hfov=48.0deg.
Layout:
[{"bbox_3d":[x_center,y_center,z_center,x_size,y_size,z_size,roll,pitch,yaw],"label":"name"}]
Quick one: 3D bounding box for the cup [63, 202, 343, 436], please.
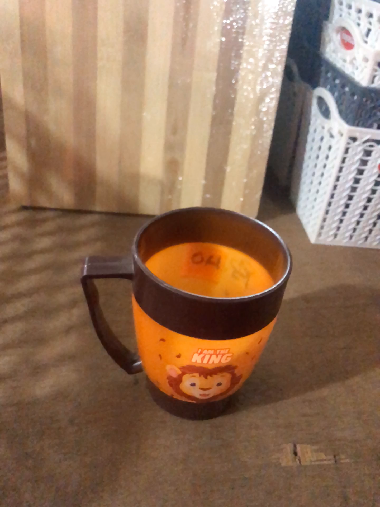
[{"bbox_3d":[0.001,0.033,0.203,0.100,0.089,0.060,3,38,-4],"label":"cup"}]
